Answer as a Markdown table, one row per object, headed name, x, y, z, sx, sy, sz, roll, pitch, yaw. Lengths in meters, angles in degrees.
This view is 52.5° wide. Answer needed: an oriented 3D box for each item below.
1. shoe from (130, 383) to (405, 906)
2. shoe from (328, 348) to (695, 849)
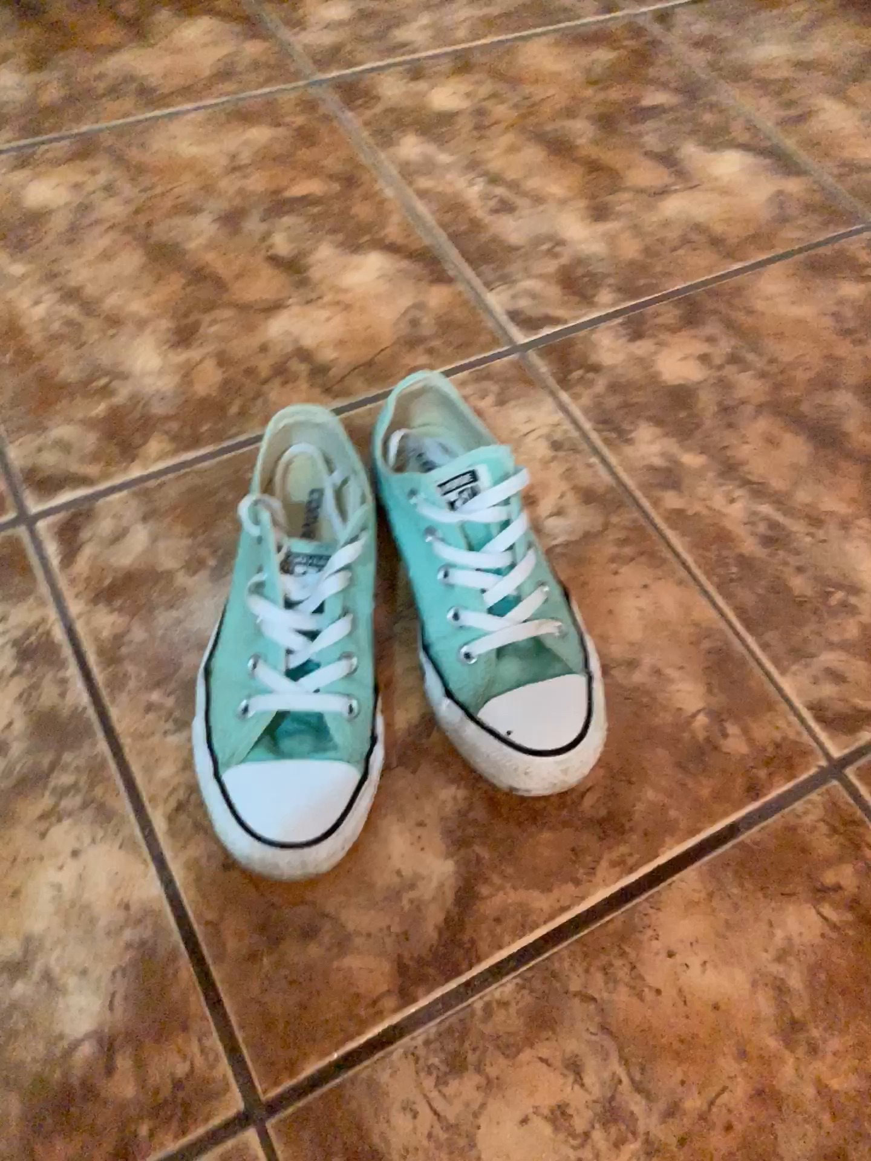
| name | x | y | z | sx | sy | sz | roll | pitch | yaw |
| --- | --- | --- | --- | --- | --- | --- | --- | --- | --- |
| shoe | -0.071 | 0.026 | 0.447 | 0.098 | 0.094 | 0.244 | 3 | 58 | -4 |
| shoe | 0.024 | 0.000 | 0.471 | 0.094 | 0.084 | 0.244 | -15 | 61 | -15 |
